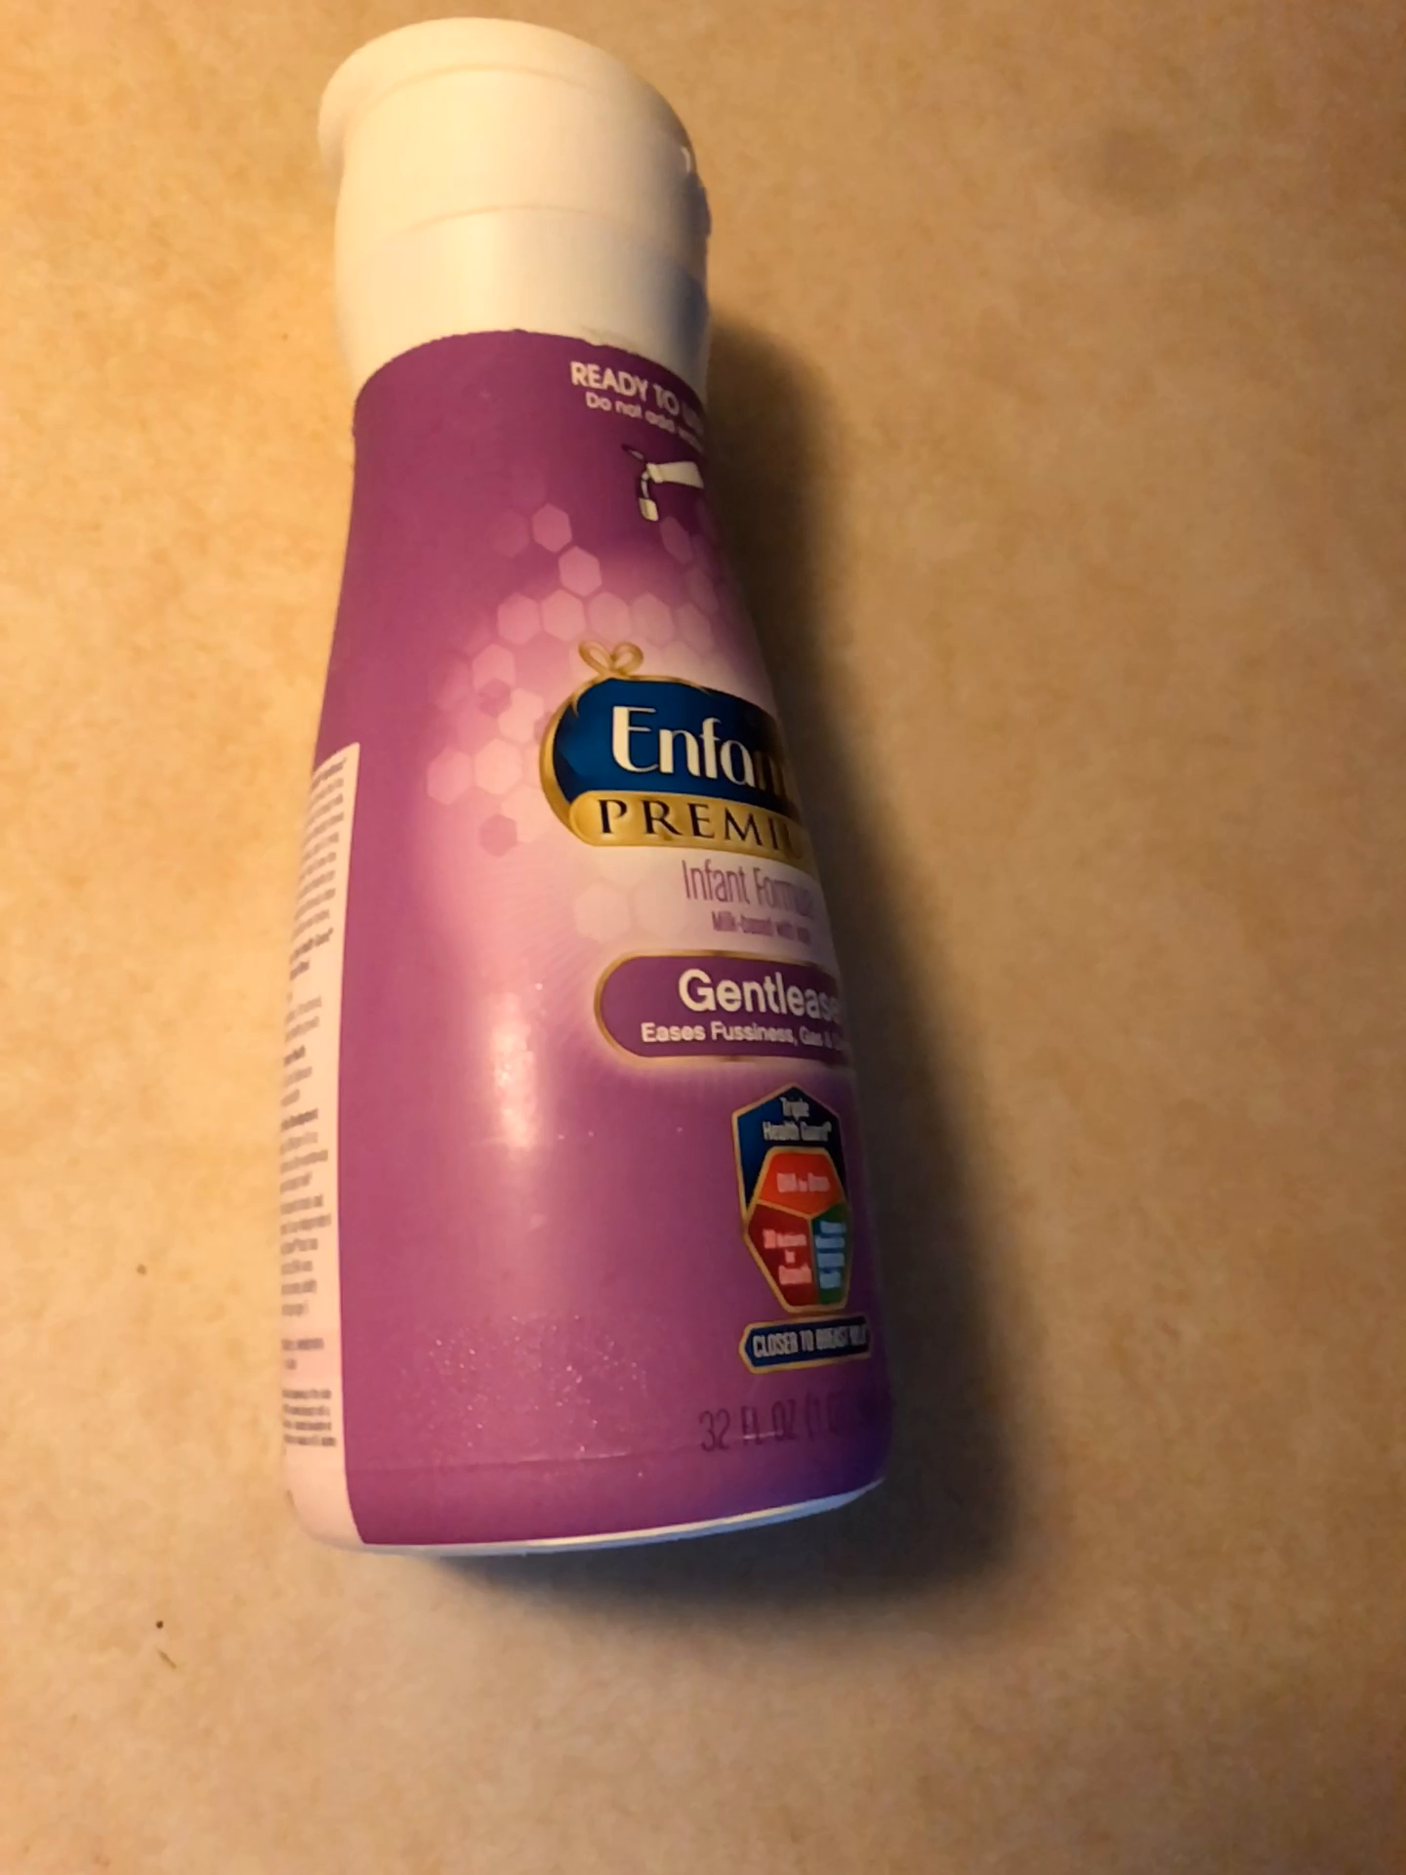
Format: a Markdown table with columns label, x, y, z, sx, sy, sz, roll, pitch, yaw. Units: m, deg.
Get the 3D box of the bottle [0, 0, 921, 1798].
| label | x | y | z | sx | sy | sz | roll | pitch | yaw |
| --- | --- | --- | --- | --- | --- | --- | --- | --- | --- |
| bottle | -0.047 | -0.039 | 0.245 | 0.090 | 0.100 | 0.280 | 9 | 72 | -43 |
